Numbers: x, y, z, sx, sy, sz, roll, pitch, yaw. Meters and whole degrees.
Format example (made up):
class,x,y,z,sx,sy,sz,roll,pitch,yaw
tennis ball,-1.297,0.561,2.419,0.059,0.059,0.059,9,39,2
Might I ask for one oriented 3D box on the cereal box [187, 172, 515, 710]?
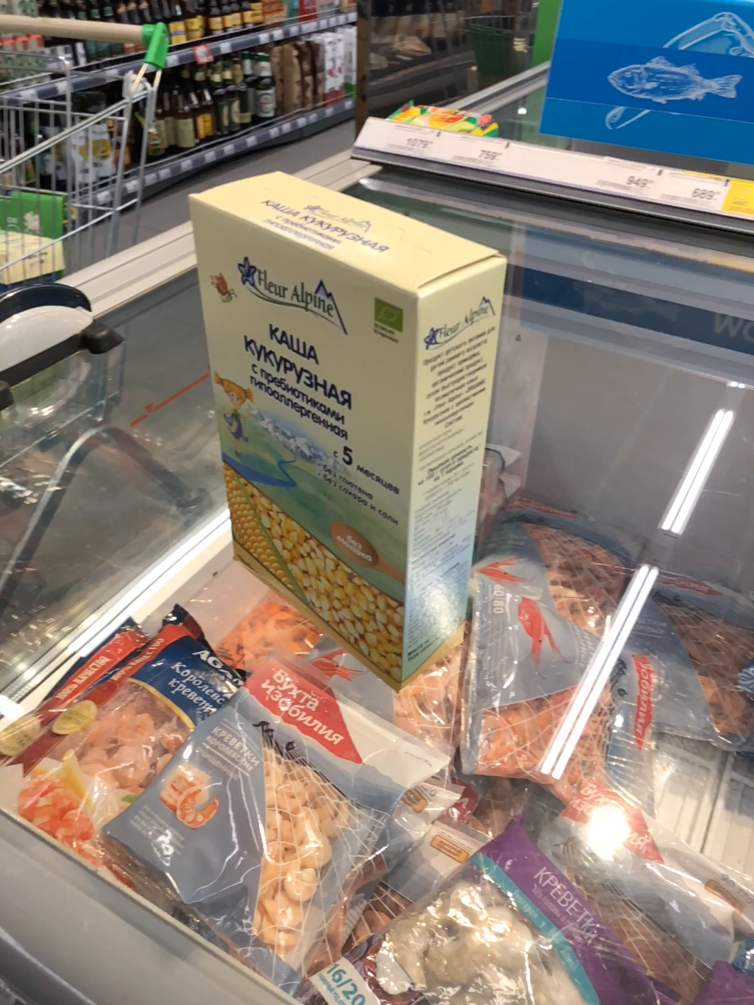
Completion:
class,x,y,z,sx,sy,sz,roll,pitch,yaw
cereal box,-0.016,-0.024,0.380,0.050,0.209,0.130,-30,47,-34
